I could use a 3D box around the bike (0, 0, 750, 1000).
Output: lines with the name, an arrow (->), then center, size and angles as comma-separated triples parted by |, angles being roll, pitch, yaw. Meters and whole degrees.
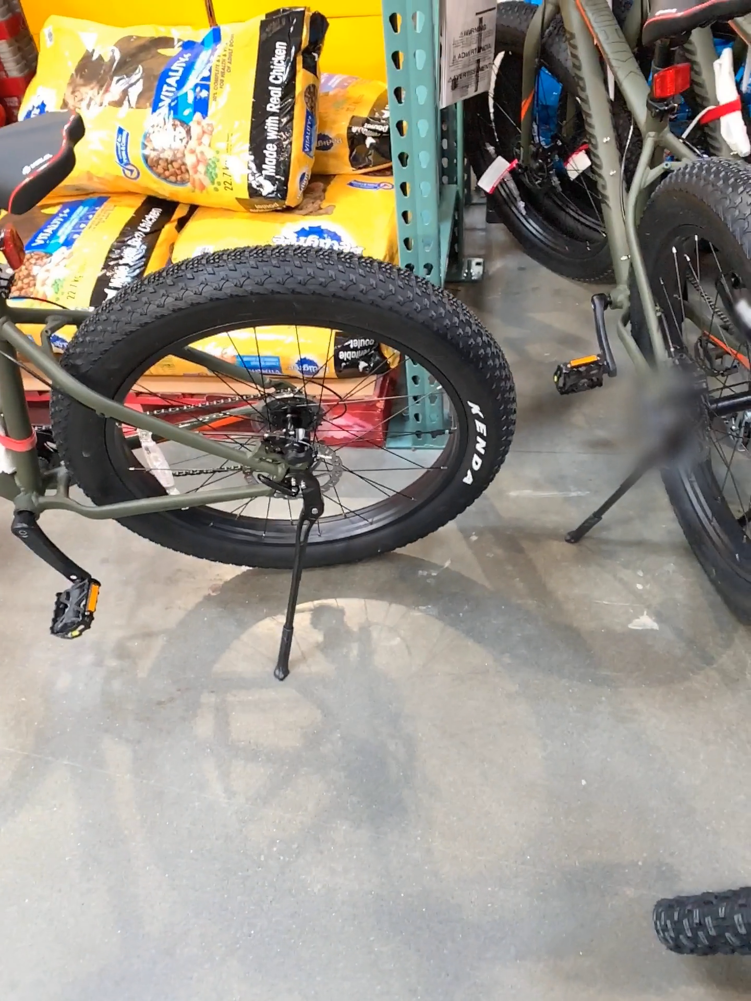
bike -> -0.468, -0.038, 0.847 | 1.712, 1.204, 0.594 | -14, 45, -19
